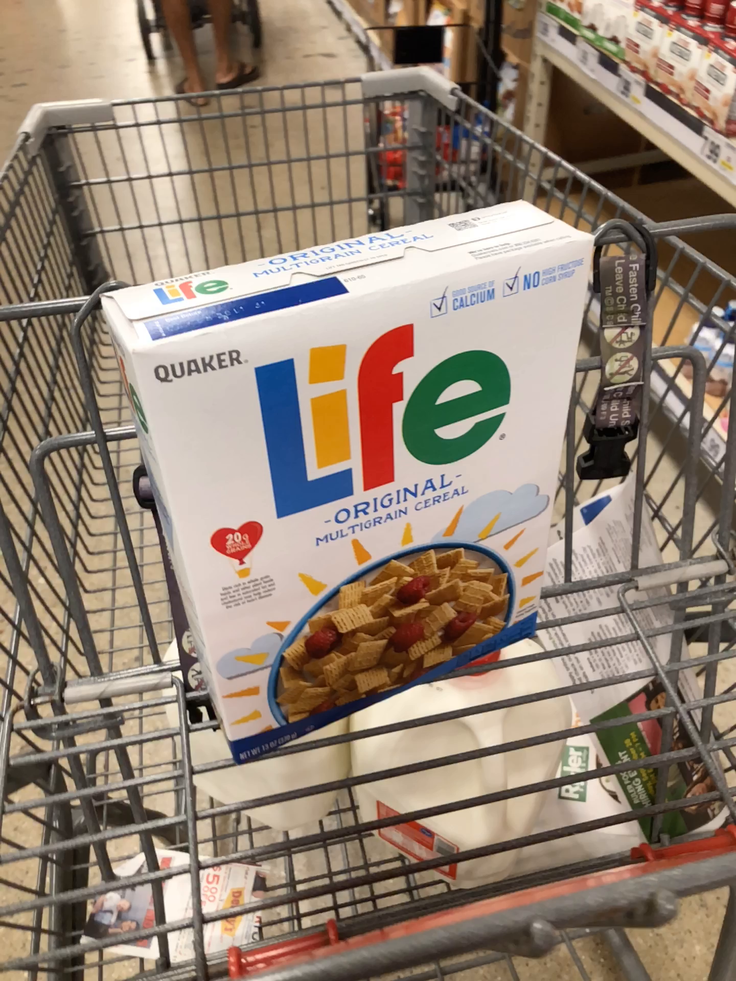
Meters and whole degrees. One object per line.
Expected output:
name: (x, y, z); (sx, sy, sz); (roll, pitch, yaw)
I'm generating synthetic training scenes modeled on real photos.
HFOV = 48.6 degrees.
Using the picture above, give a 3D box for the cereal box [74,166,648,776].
cereal box: (0.007, 0.002, 0.365); (0.200, 0.240, 0.050); (-18, 42, -17)
